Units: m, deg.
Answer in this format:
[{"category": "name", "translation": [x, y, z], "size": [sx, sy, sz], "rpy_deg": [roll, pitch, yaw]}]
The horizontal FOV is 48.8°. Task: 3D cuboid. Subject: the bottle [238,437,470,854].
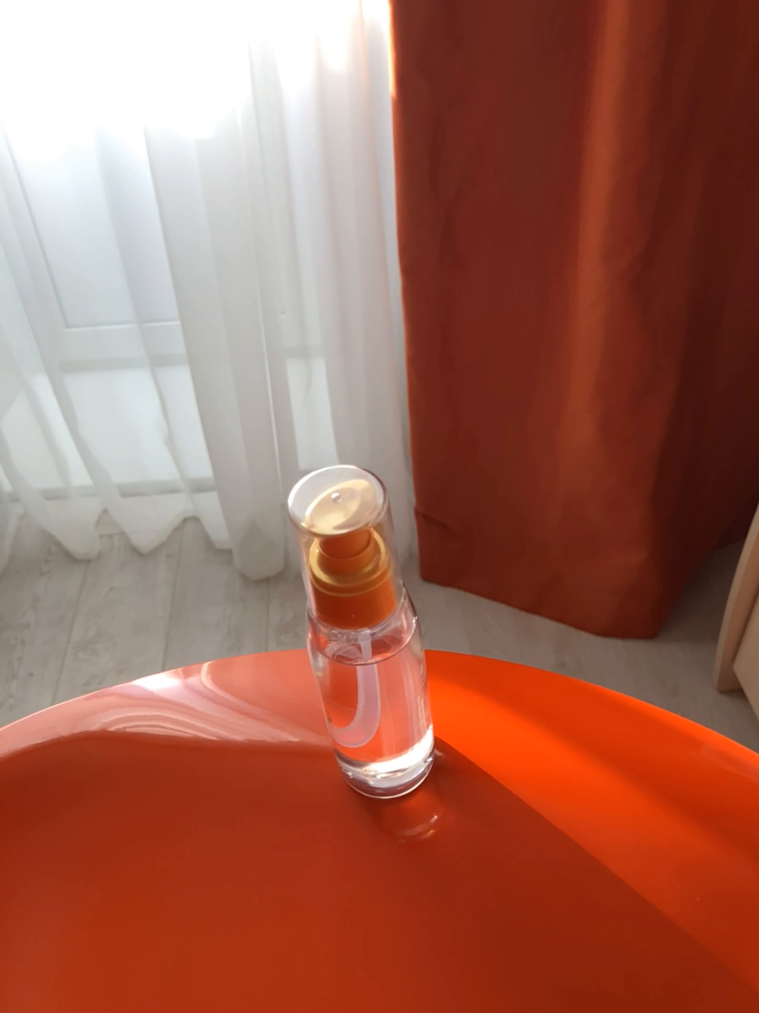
[{"category": "bottle", "translation": [-0.003, 0.055, 0.280], "size": [0.050, 0.149, 0.050], "rpy_deg": [-3, 46, 3]}]
